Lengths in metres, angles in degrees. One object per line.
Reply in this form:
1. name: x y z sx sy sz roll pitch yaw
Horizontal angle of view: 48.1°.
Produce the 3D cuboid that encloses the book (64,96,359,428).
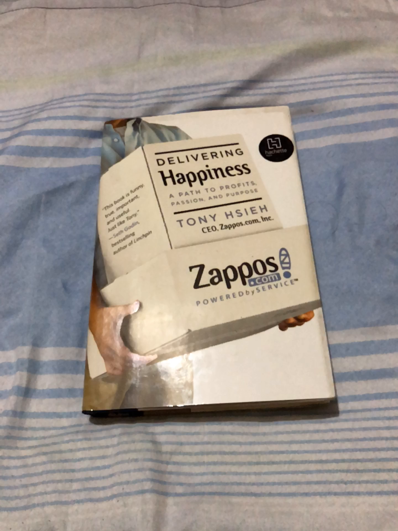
1. book: 0.004 -0.012 0.332 0.170 0.050 0.240 -4 63 4
